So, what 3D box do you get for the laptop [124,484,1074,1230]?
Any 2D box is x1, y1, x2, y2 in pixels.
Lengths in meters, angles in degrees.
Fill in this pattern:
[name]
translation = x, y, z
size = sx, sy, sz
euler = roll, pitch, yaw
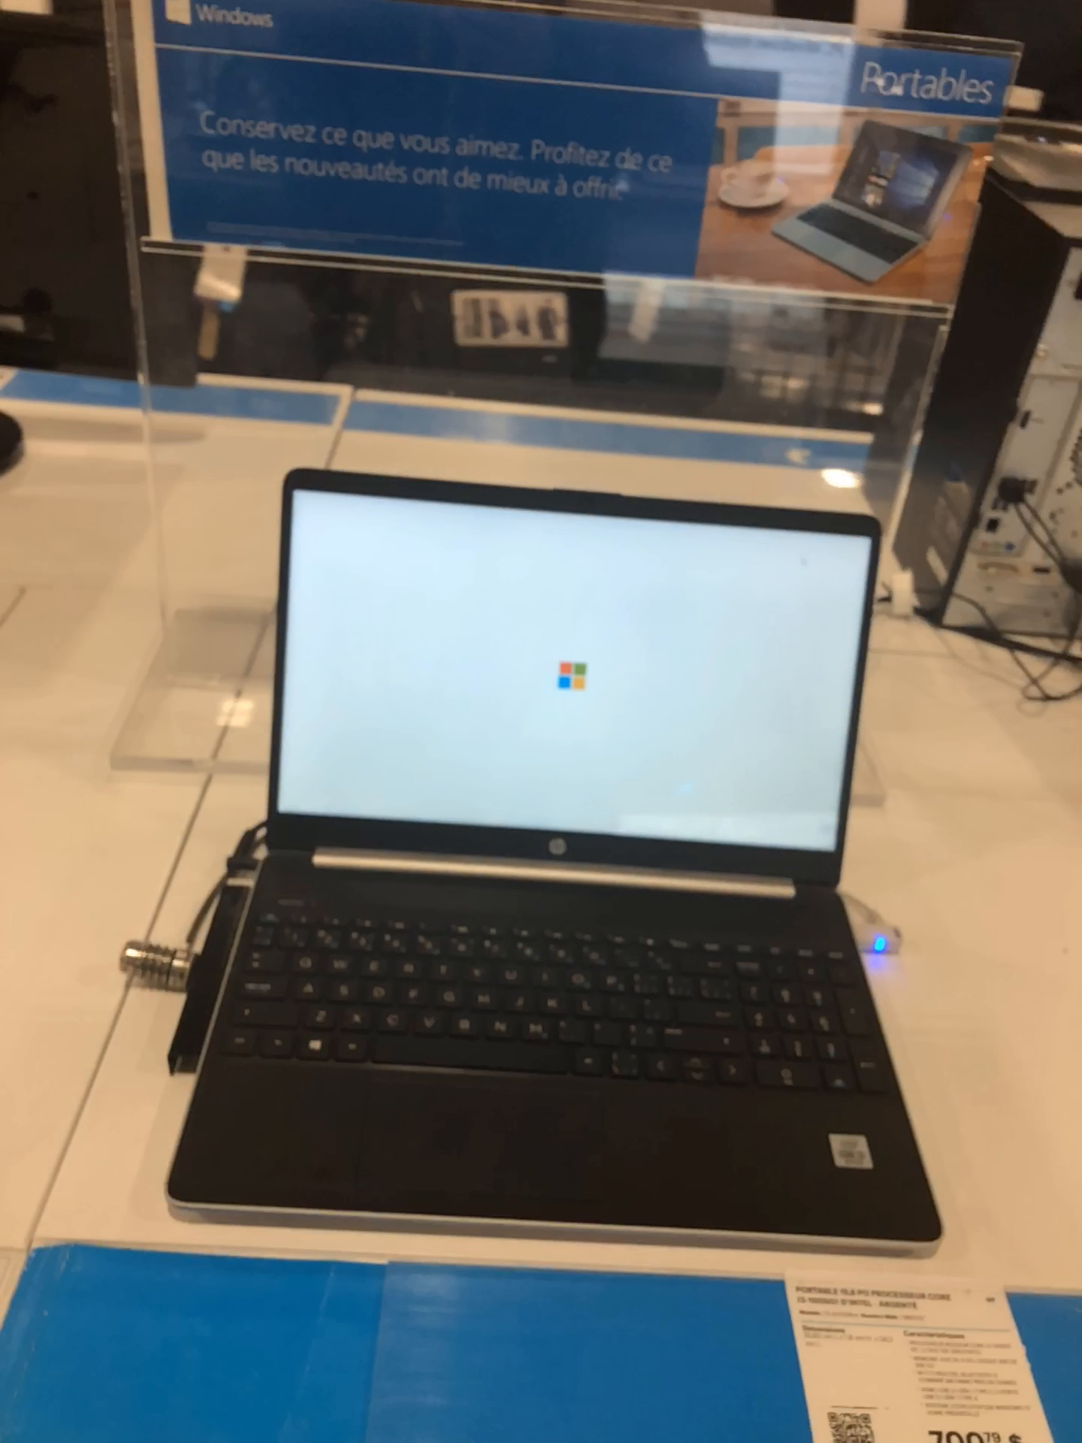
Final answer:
[laptop]
translation = 0.018, 0.048, 0.628
size = 0.346, 0.196, 0.335
euler = 4, 34, -3
